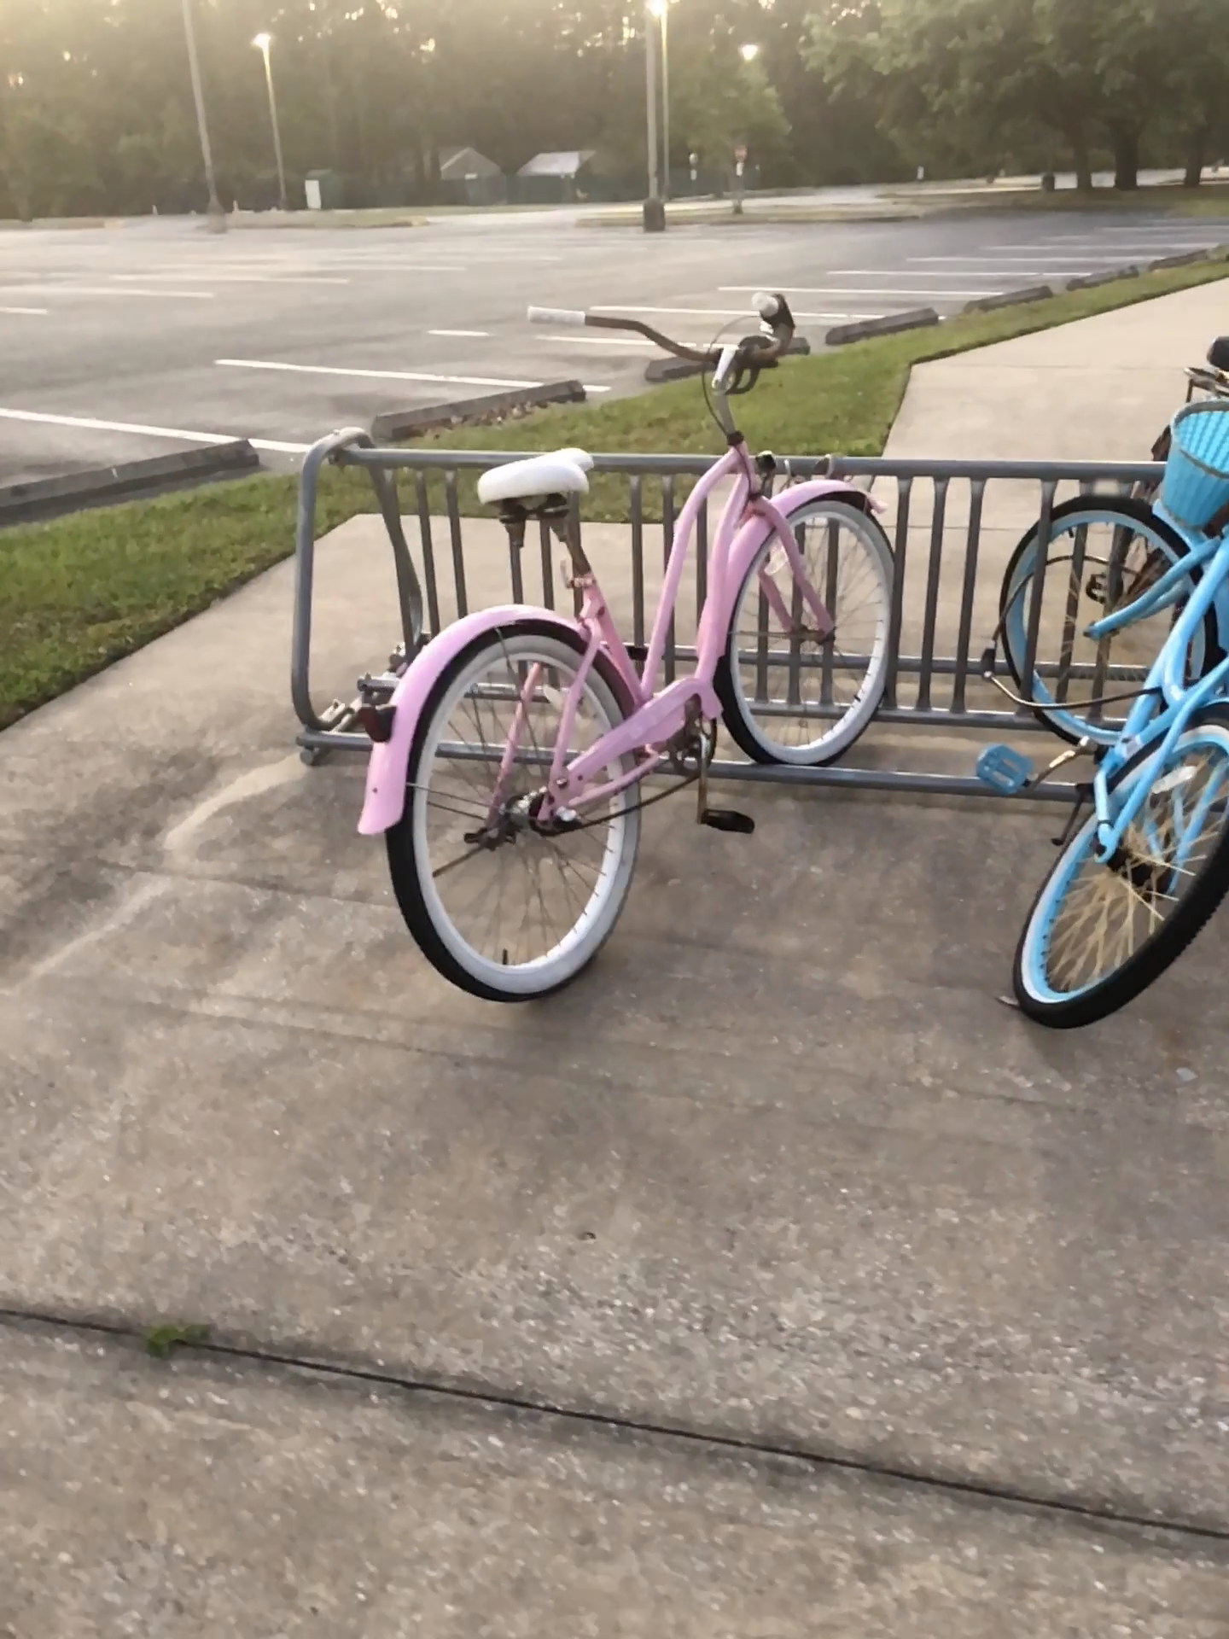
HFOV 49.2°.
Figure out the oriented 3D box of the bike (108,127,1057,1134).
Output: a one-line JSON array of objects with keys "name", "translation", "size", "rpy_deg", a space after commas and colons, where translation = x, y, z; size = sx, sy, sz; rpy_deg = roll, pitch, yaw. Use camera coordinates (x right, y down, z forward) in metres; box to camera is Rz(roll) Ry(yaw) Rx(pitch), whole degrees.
[{"name": "bike", "translation": [0.076, -0.536, 2.583], "size": [0.840, 1.116, 1.659], "rpy_deg": [15, 36, 32]}]
